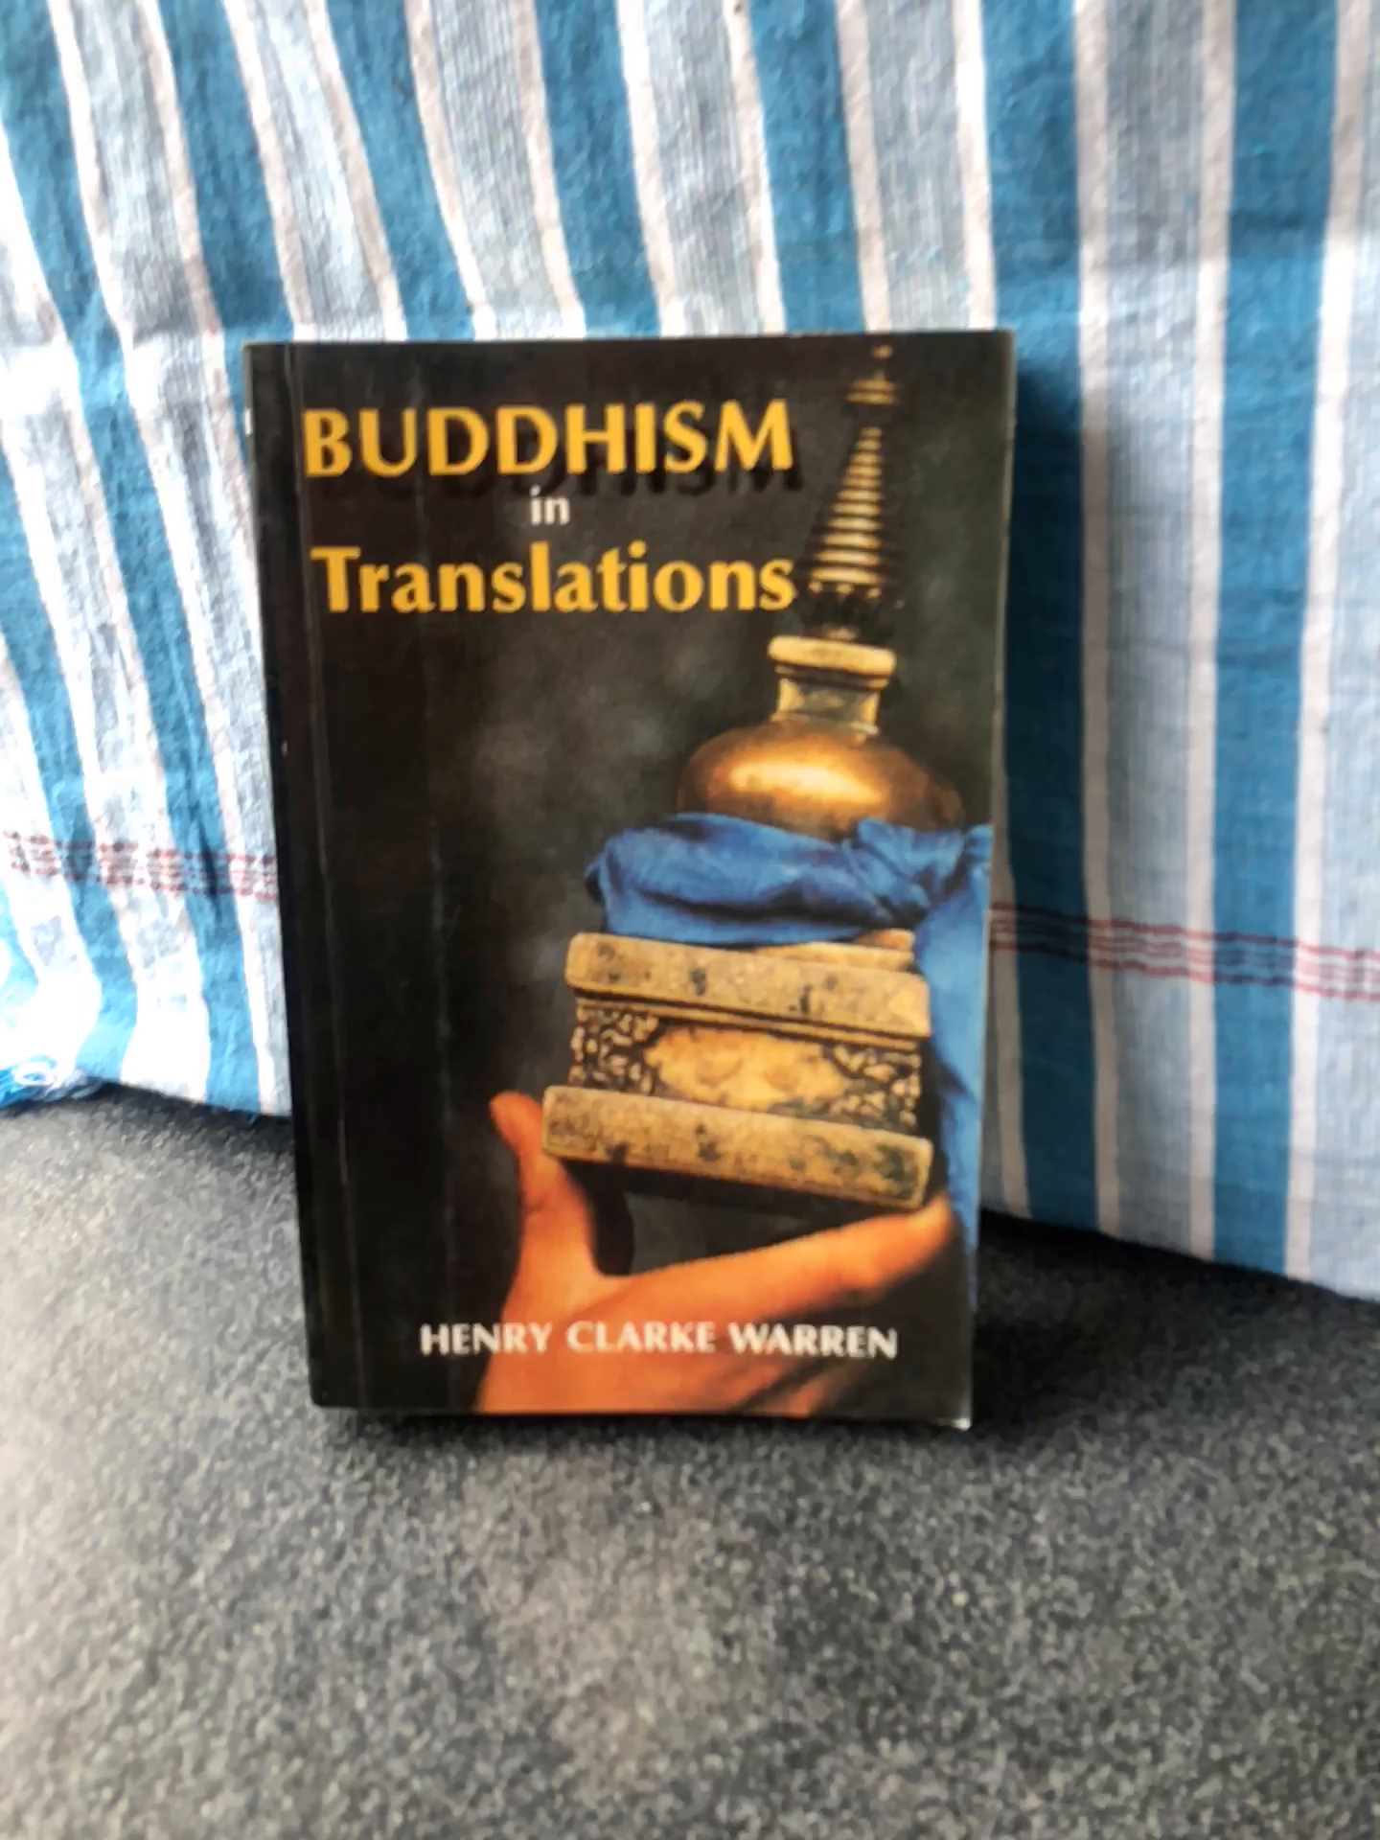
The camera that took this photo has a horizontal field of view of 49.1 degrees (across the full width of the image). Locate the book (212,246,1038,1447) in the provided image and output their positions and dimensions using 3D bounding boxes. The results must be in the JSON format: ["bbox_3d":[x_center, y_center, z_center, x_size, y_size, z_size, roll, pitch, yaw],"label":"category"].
[{"bbox_3d":[-0.010,-0.011,0.293,0.140,0.210,0.050,0,7,4],"label":"book"}]
